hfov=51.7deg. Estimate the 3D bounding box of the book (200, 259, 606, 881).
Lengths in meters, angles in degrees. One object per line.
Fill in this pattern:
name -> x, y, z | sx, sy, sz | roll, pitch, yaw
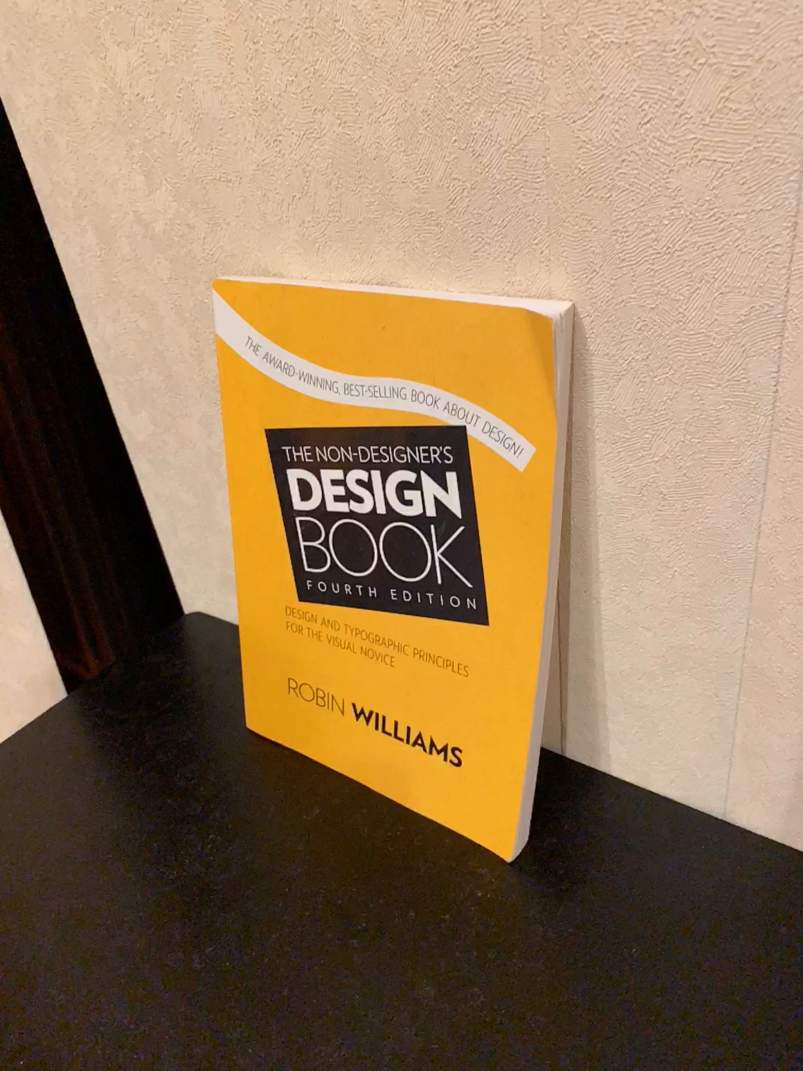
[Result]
book -> -0.011, 0.010, 0.394 | 0.191, 0.259, 0.030 | 16, 26, 34
